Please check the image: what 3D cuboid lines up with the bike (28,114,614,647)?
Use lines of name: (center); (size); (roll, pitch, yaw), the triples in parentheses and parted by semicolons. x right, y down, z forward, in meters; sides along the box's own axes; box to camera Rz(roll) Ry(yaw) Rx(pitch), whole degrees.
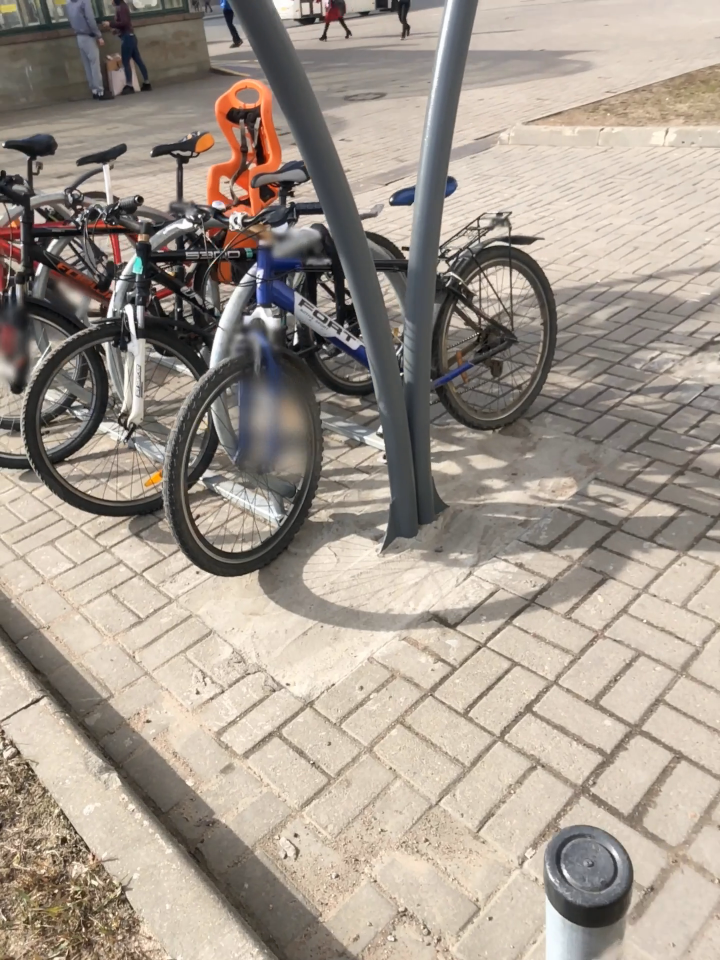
bike: (0.041, -0.453, 2.392); (1.664, 0.959, 0.628); (-31, 39, -35)
